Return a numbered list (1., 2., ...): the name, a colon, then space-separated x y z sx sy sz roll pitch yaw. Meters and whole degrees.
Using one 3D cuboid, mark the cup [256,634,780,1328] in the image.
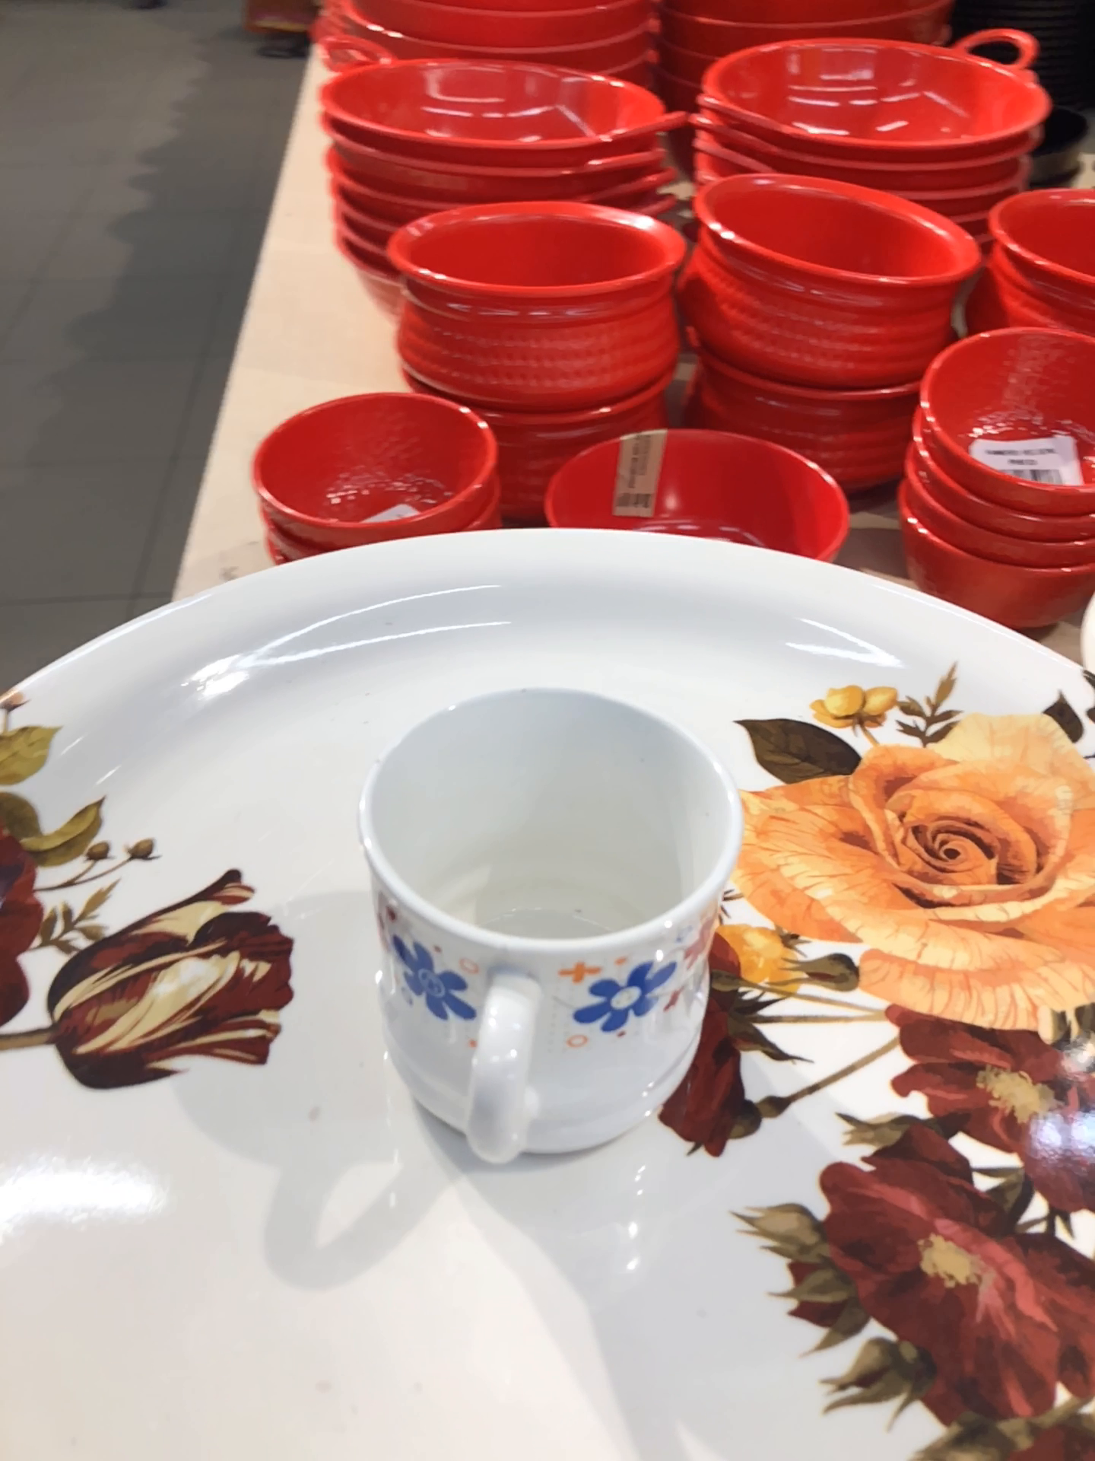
1. cup: 0.002 0.041 0.218 0.070 0.070 0.091 6 42 6
